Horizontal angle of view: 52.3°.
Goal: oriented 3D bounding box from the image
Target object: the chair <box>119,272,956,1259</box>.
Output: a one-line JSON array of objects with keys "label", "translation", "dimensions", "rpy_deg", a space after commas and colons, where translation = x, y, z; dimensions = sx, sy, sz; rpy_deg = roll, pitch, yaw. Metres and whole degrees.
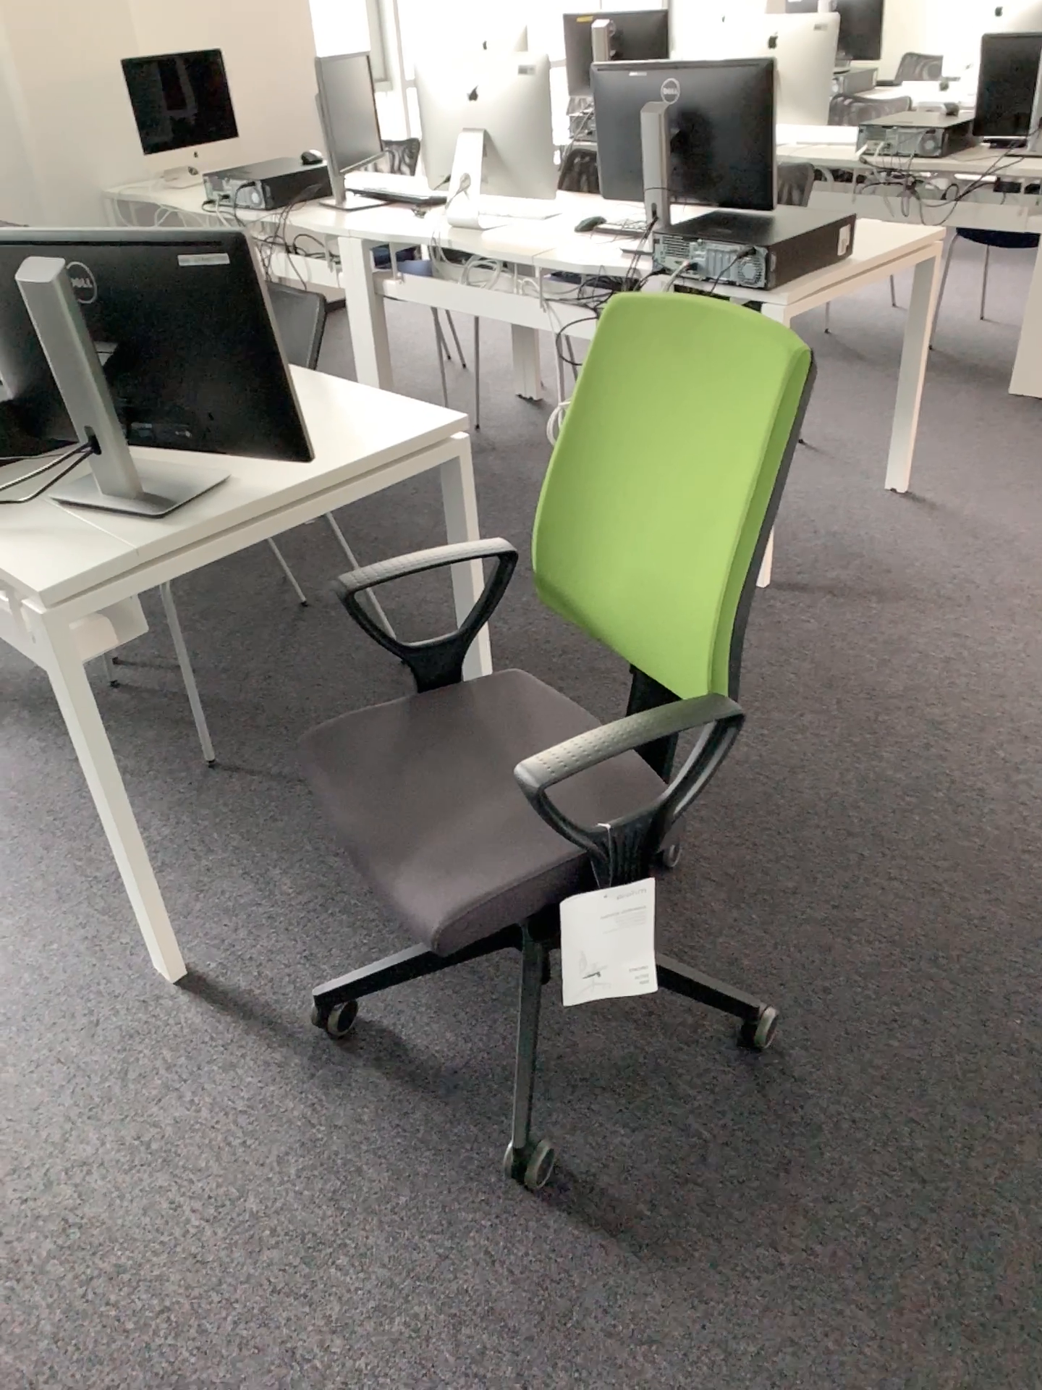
[{"label": "chair", "translation": [0.022, 0.055, 1.524], "dimensions": [0.761, 1.044, 0.622], "rpy_deg": [-22, 38, -25]}]
